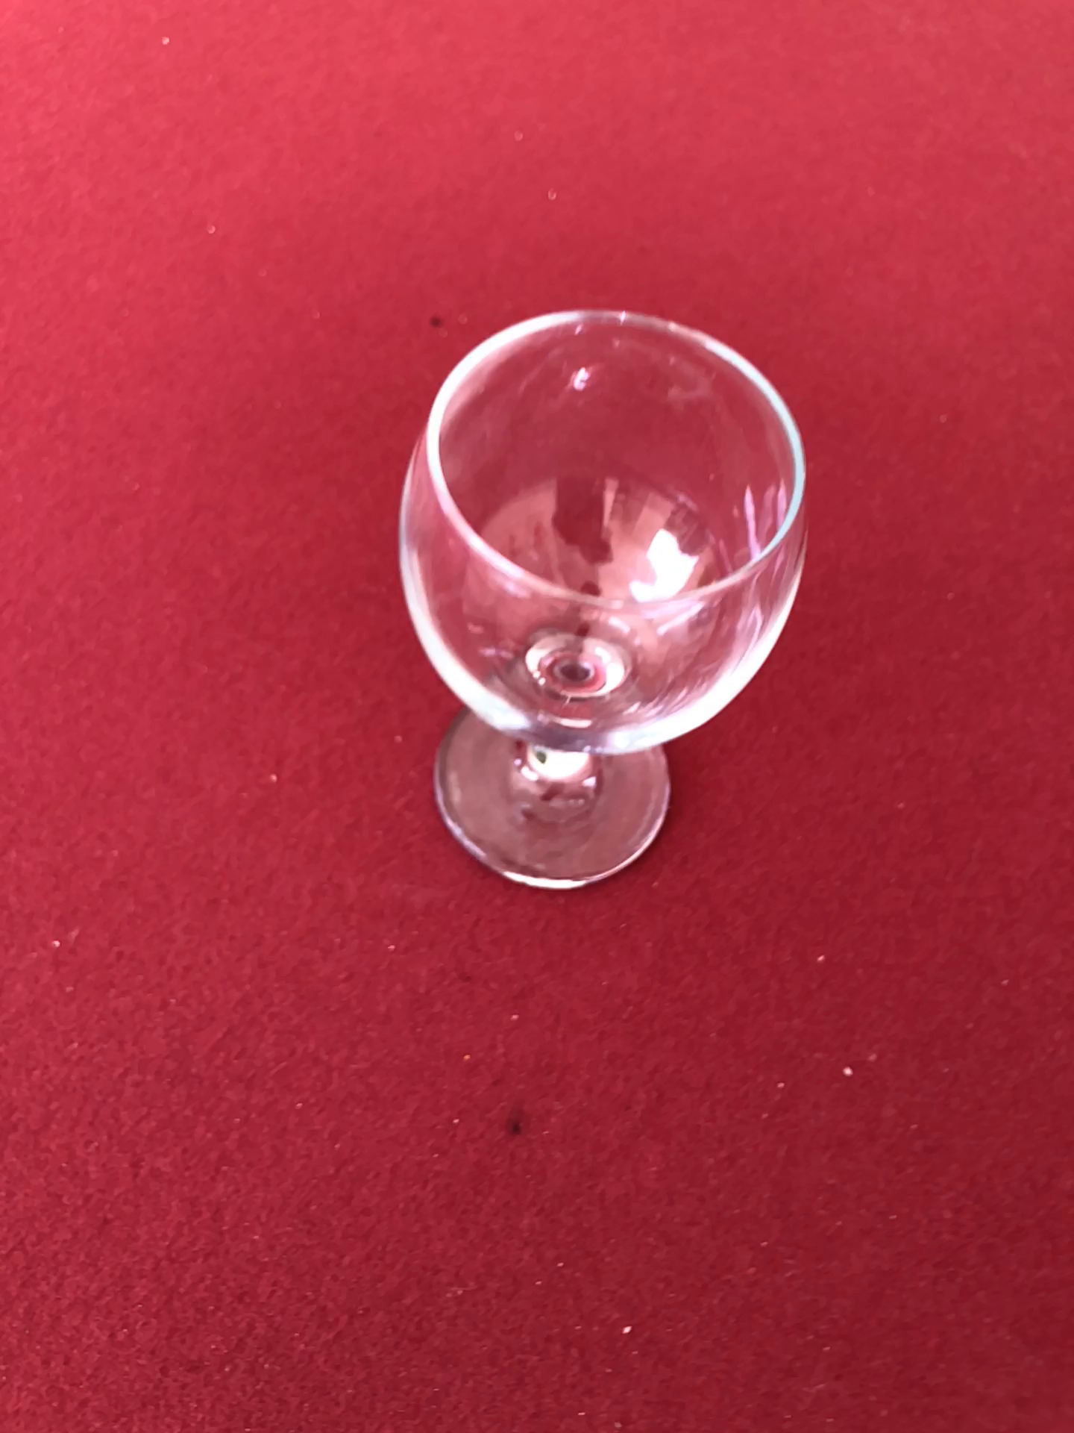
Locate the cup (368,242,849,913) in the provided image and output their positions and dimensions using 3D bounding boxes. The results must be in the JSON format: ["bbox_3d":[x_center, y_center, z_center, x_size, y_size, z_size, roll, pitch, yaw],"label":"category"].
[{"bbox_3d":[0.010,-0.021,0.267,0.070,0.129,0.070,2,61,-4],"label":"cup"}]
